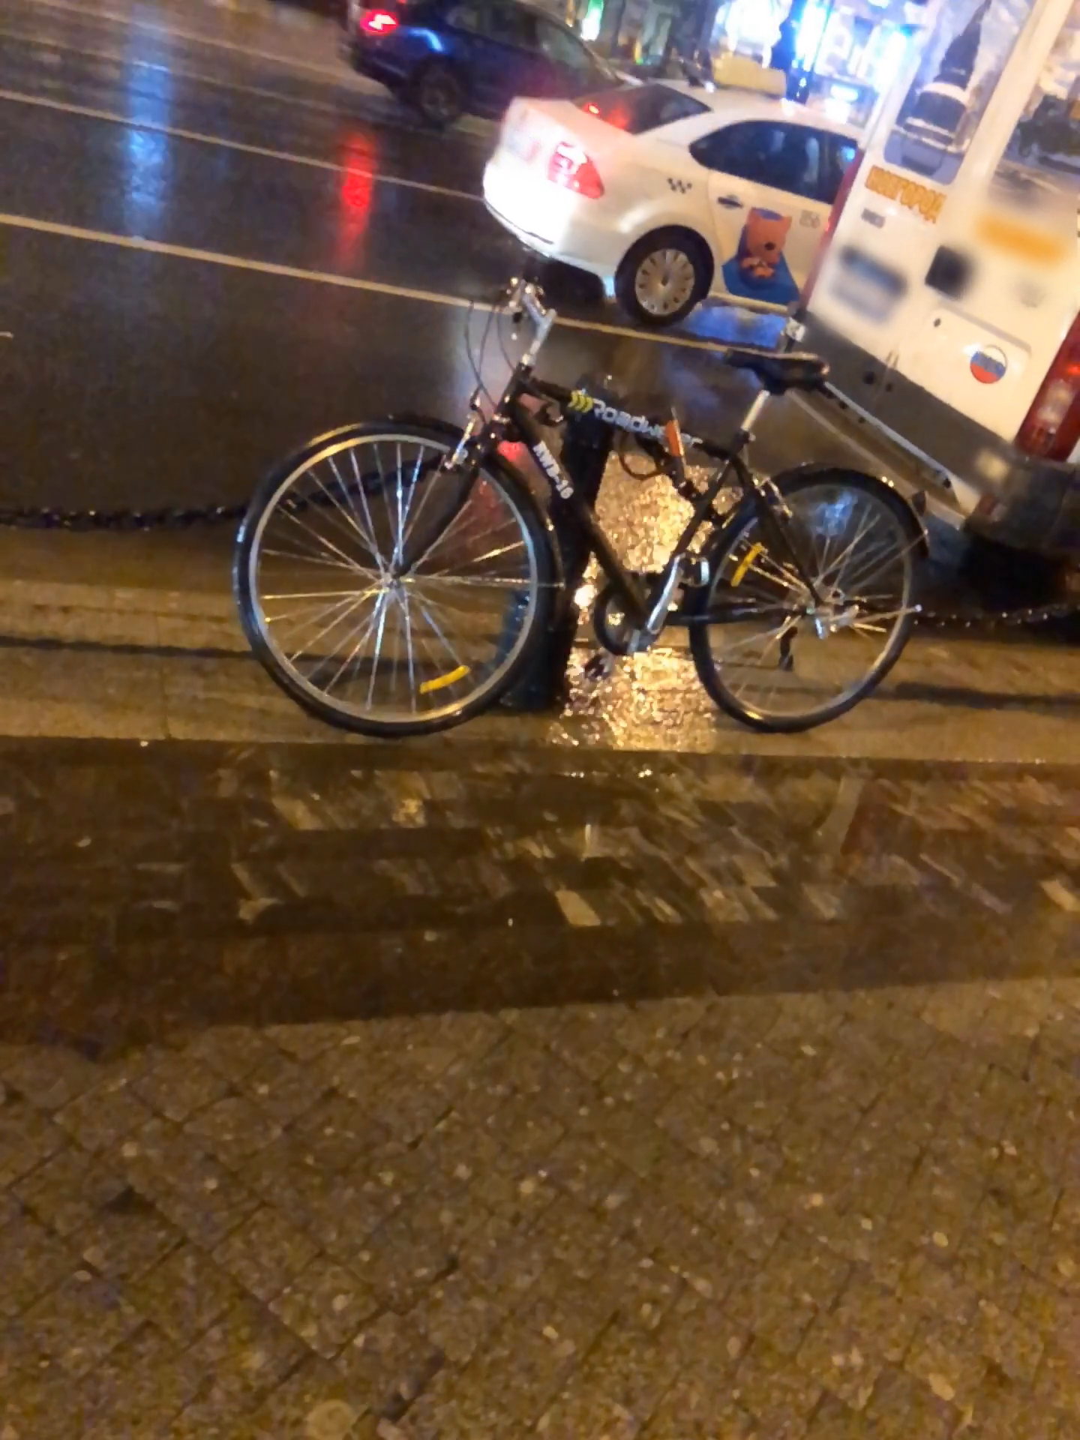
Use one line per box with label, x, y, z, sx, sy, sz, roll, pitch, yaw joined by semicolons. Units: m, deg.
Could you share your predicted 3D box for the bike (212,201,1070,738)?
bike;0.182;-0.539;2.818;1.749;0.961;0.555;3;30;-19
